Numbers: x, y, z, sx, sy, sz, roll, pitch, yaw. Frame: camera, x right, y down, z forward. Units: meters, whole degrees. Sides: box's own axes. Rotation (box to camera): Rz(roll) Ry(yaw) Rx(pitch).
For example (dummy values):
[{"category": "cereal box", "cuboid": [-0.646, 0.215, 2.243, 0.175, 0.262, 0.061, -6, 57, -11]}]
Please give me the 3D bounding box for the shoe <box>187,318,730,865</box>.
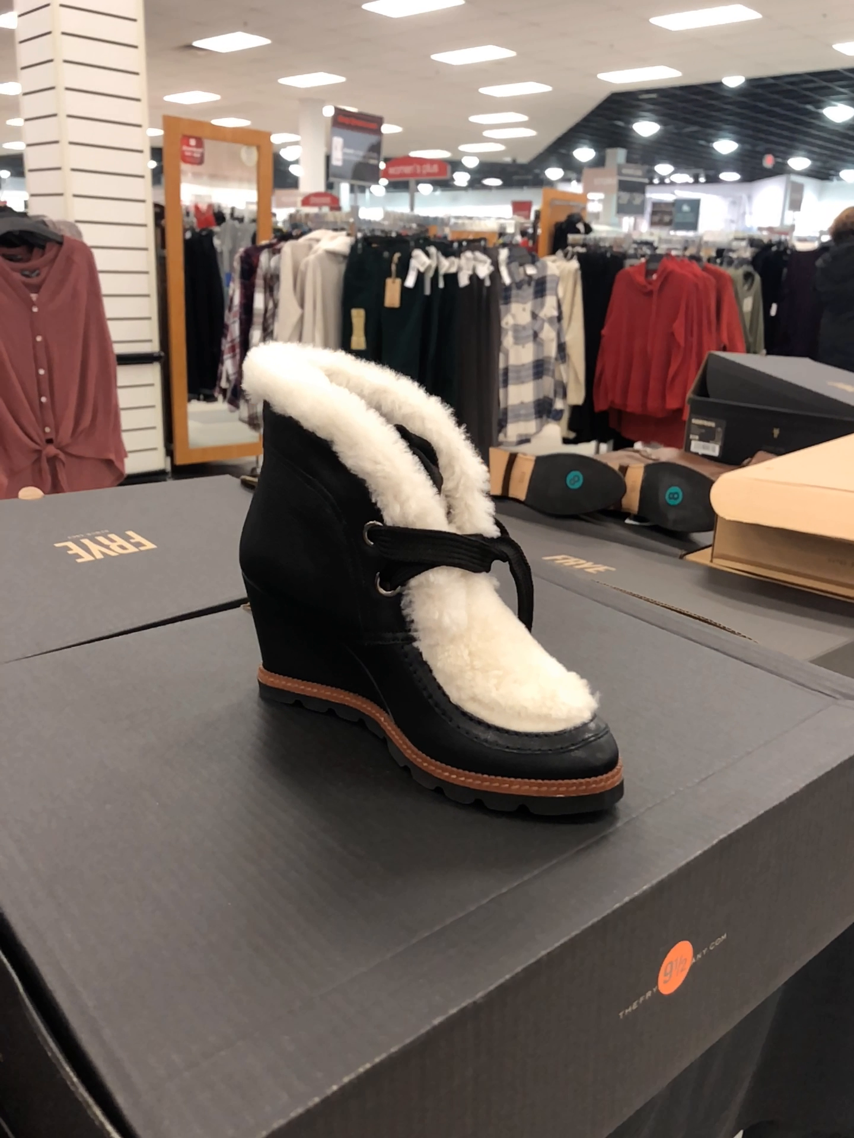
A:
[{"category": "shoe", "cuboid": [0.003, -0.011, 0.480, 0.247, 0.208, 0.101, 15, 22, 35]}]
